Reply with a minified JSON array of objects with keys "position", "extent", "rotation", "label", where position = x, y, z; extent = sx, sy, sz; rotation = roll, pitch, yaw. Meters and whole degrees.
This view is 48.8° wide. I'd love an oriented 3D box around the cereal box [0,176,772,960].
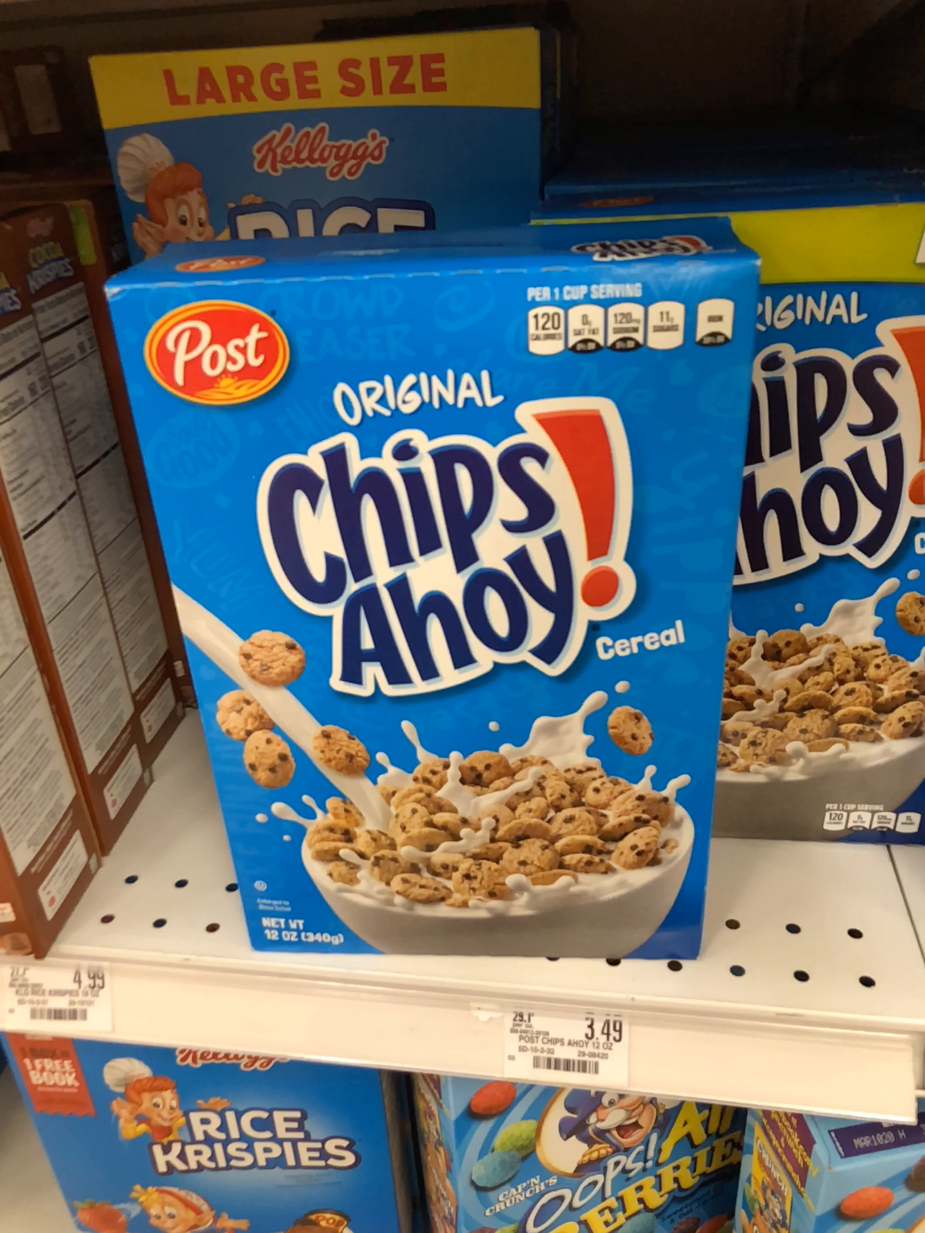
[{"position":[-0.014,-0.002,0.356],"extent":[0.200,0.259,0.080],"rotation":[-1,31,5],"label":"cereal box"}]
